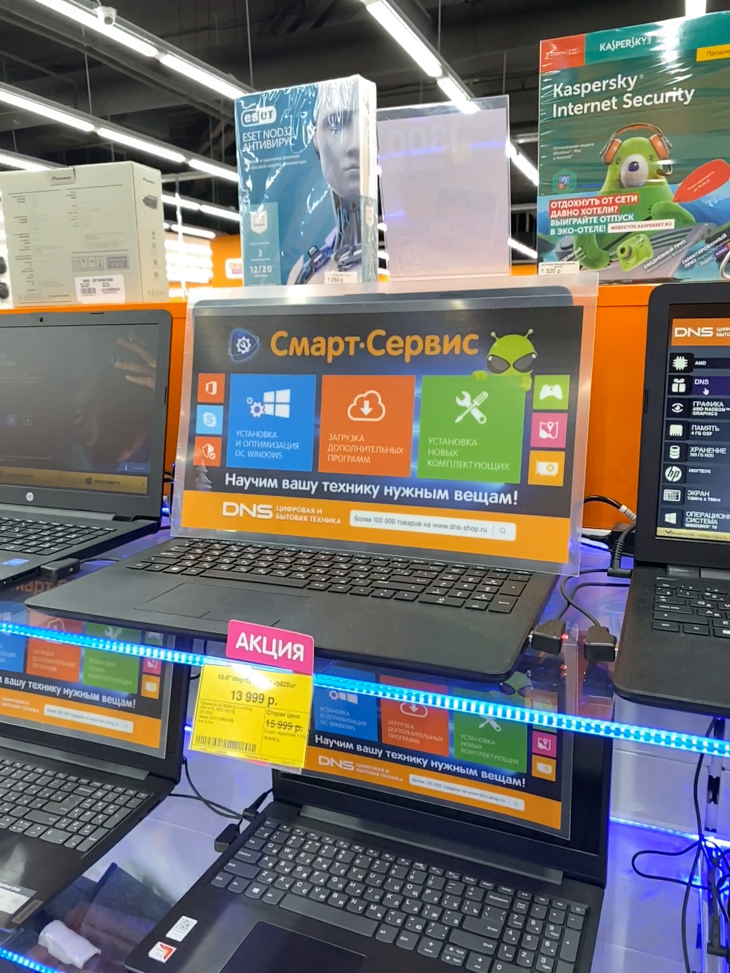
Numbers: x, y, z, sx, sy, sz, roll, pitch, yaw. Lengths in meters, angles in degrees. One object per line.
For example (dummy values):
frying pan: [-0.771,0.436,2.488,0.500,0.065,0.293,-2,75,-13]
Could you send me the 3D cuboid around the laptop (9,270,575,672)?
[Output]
laptop: [-0.042,-0.039,0.623,0.377,0.235,0.262,3,12,23]
